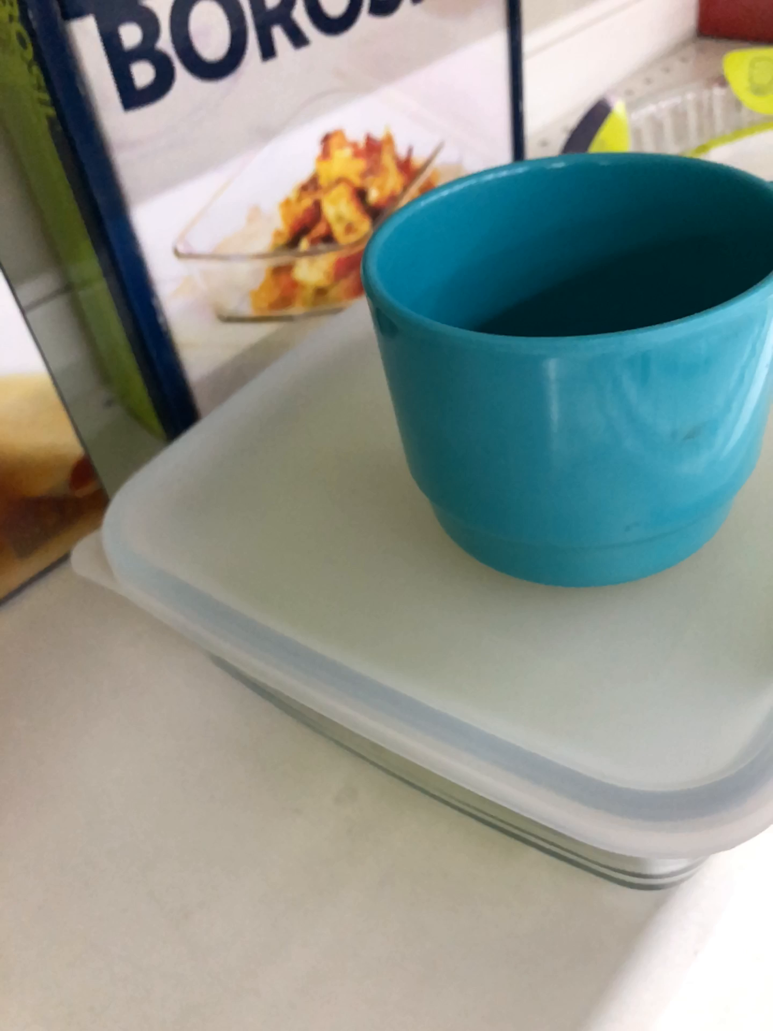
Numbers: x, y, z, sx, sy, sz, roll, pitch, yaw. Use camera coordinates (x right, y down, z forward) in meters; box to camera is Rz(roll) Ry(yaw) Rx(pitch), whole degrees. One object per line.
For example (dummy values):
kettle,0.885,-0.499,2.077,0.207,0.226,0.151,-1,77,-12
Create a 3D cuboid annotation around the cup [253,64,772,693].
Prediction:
cup,0.052,-0.043,0.197,0.120,0.070,0.090,-36,46,-26
